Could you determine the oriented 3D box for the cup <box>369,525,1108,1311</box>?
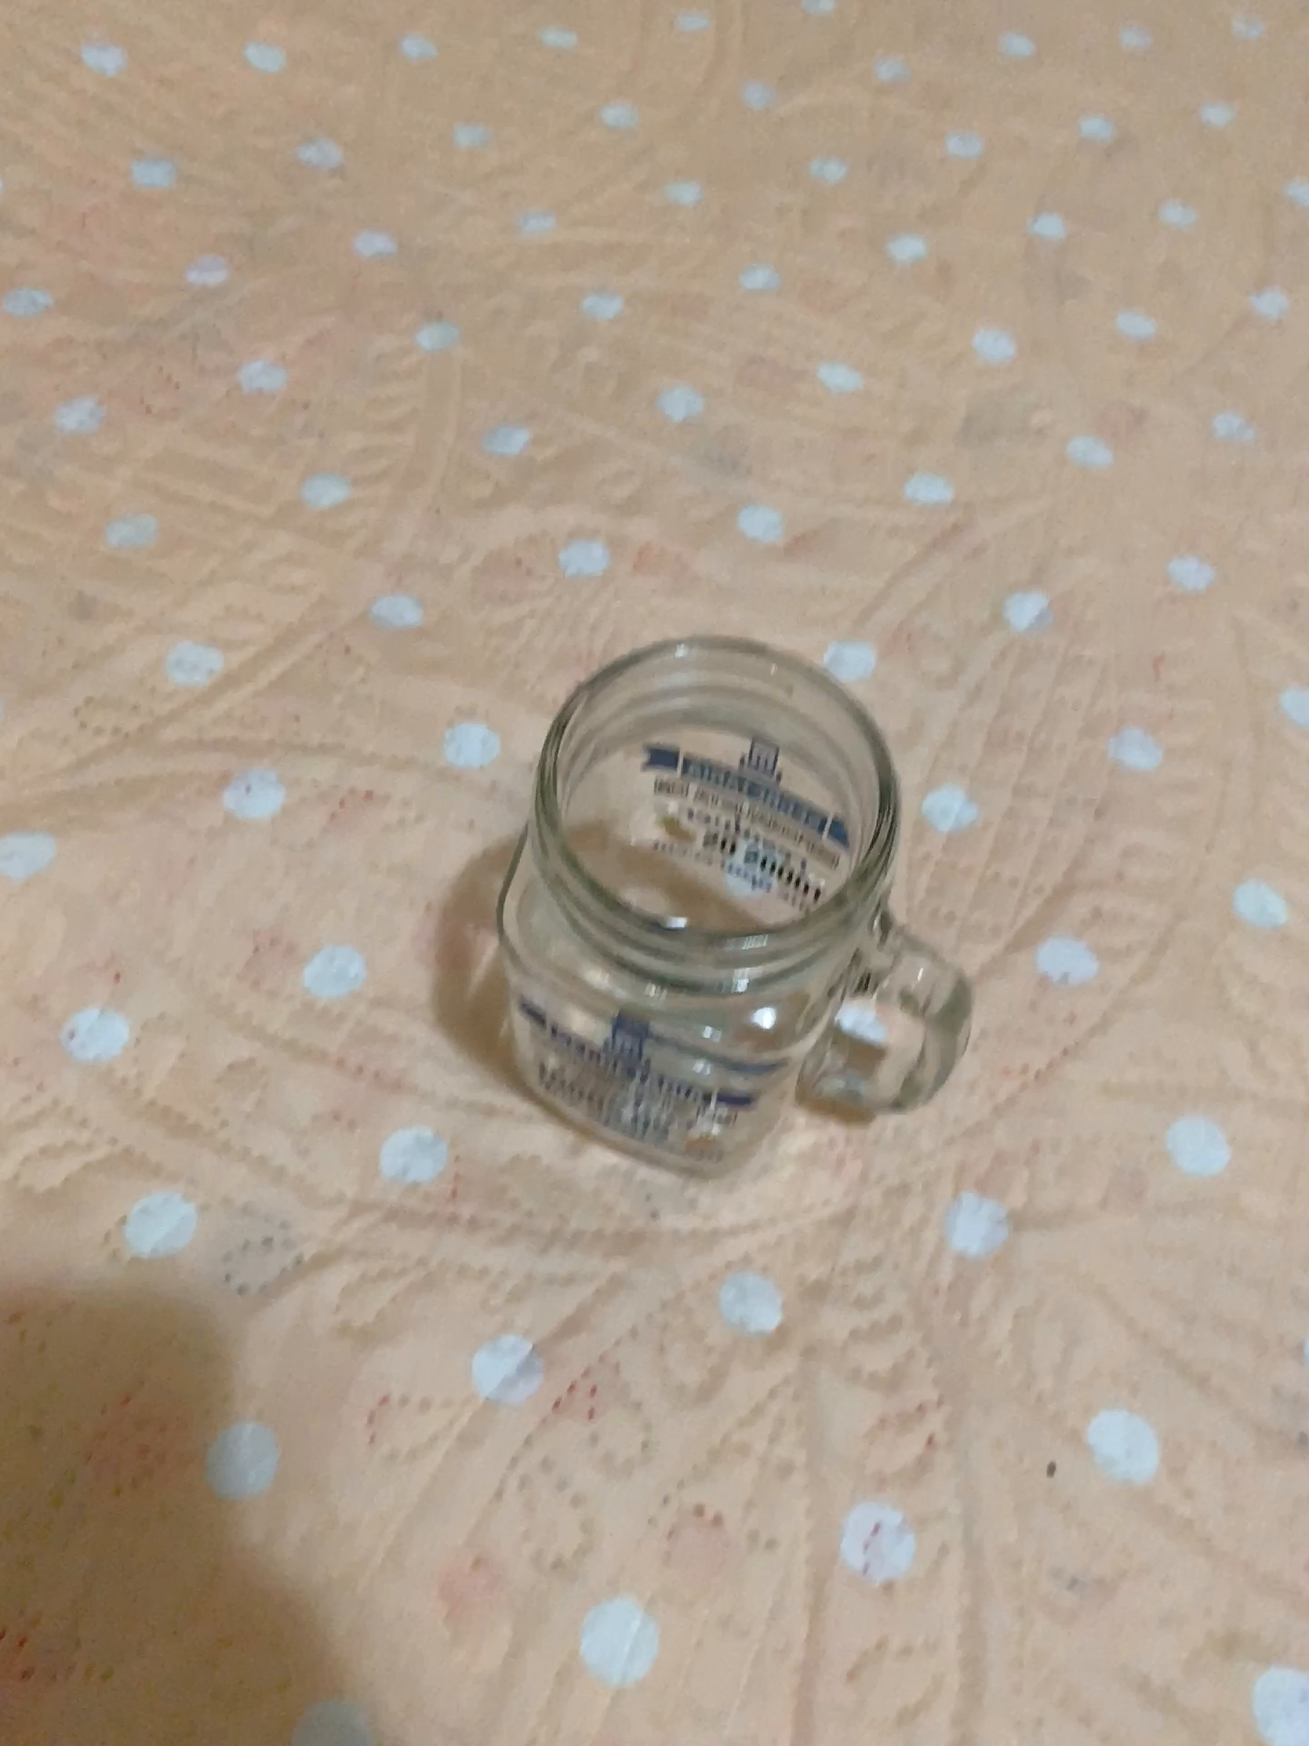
[{"bbox_3d":[0.013,0.016,0.280,0.100,0.120,0.080,26,61,11],"label":"cup"}]
